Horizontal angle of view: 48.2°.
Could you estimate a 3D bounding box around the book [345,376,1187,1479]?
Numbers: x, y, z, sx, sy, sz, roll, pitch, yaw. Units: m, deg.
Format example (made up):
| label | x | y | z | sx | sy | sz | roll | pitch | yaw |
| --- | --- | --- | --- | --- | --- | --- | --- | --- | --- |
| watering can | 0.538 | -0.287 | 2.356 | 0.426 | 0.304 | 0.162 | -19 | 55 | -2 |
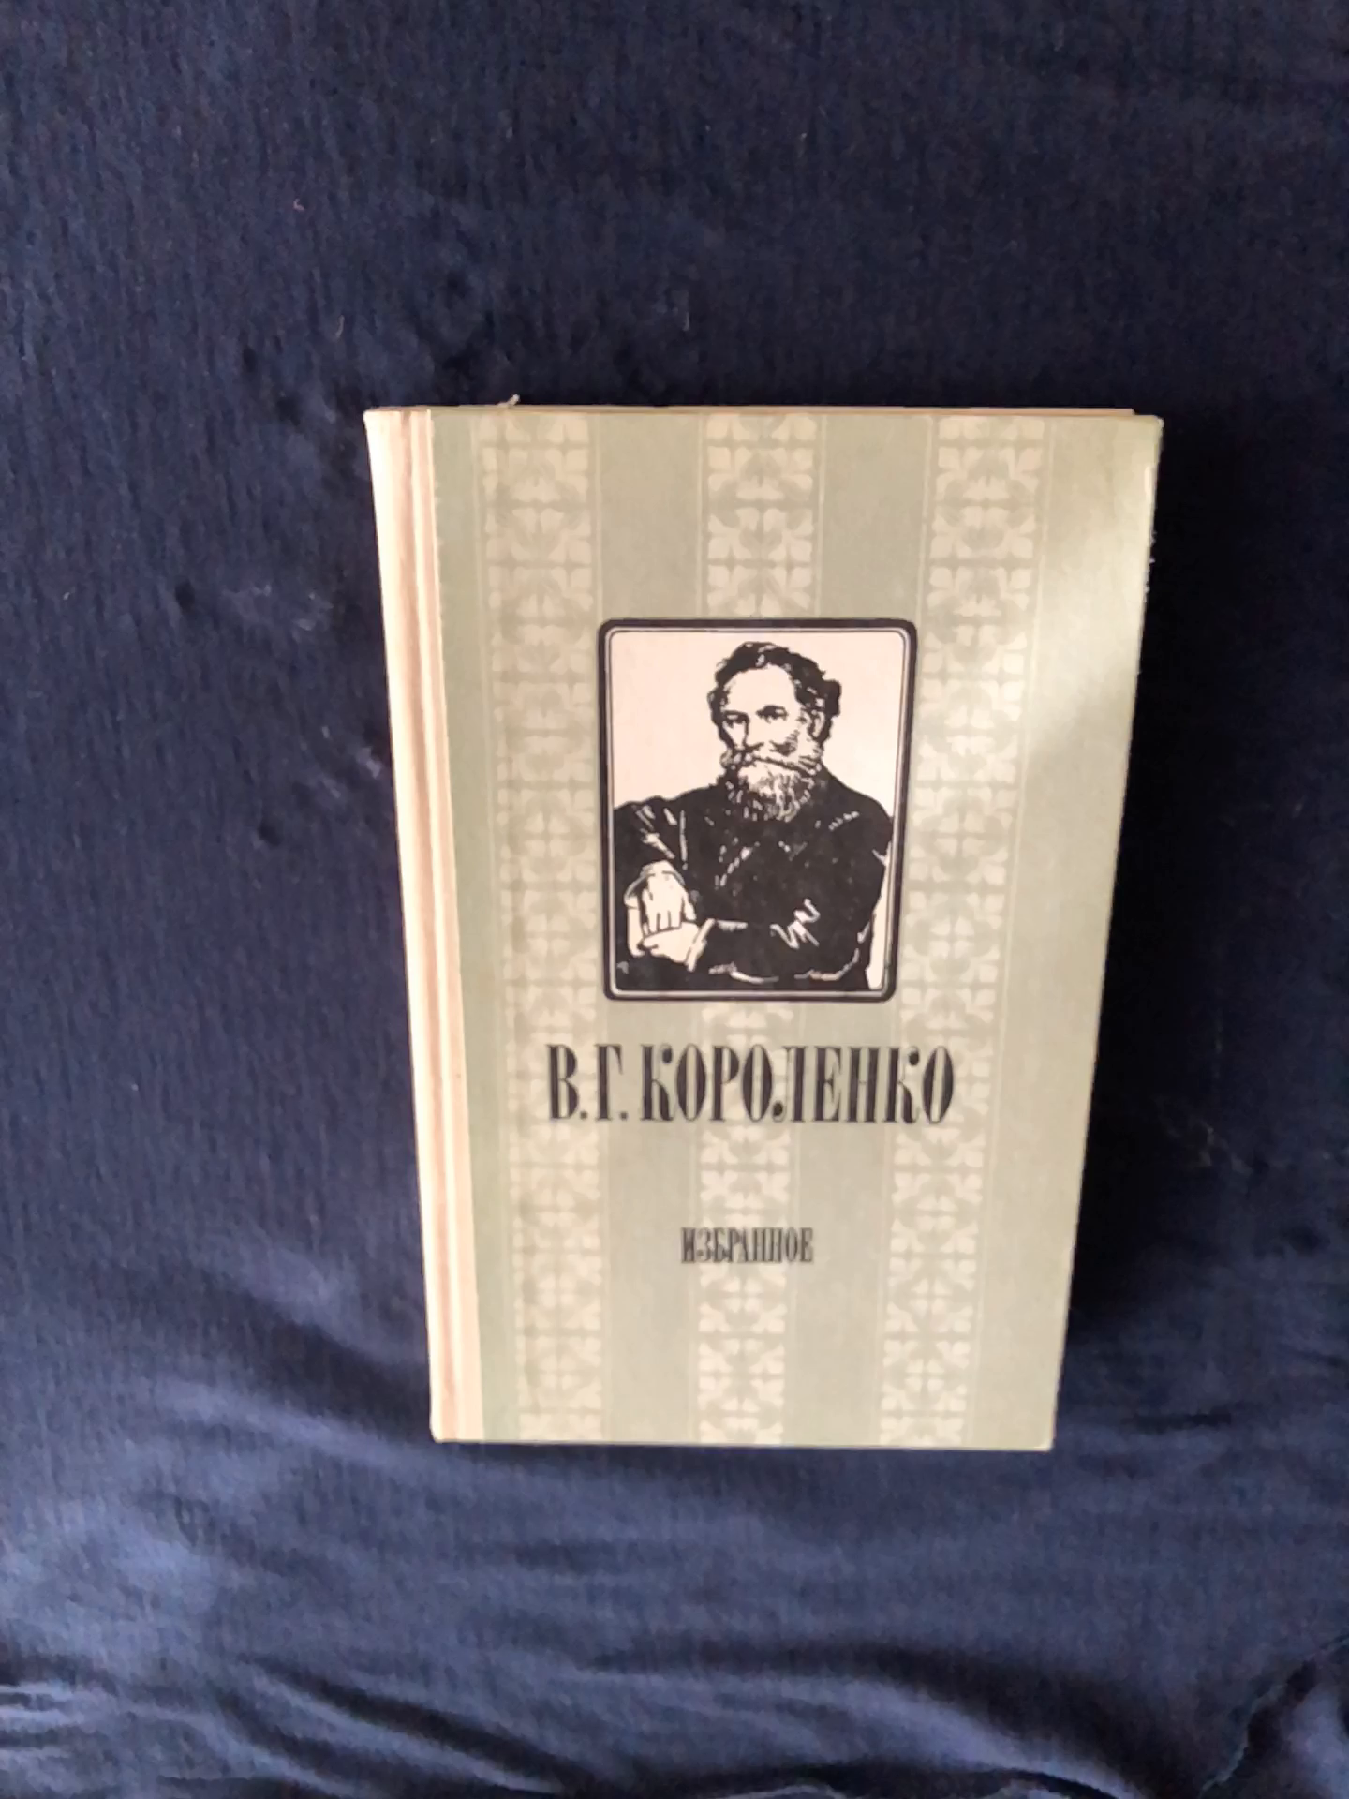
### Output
| label | x | y | z | sx | sy | sz | roll | pitch | yaw |
| --- | --- | --- | --- | --- | --- | --- | --- | --- | --- |
| book | 0.014 | 0.013 | 0.285 | 0.132 | 0.030 | 0.210 | 0 | 109 | -1 |
